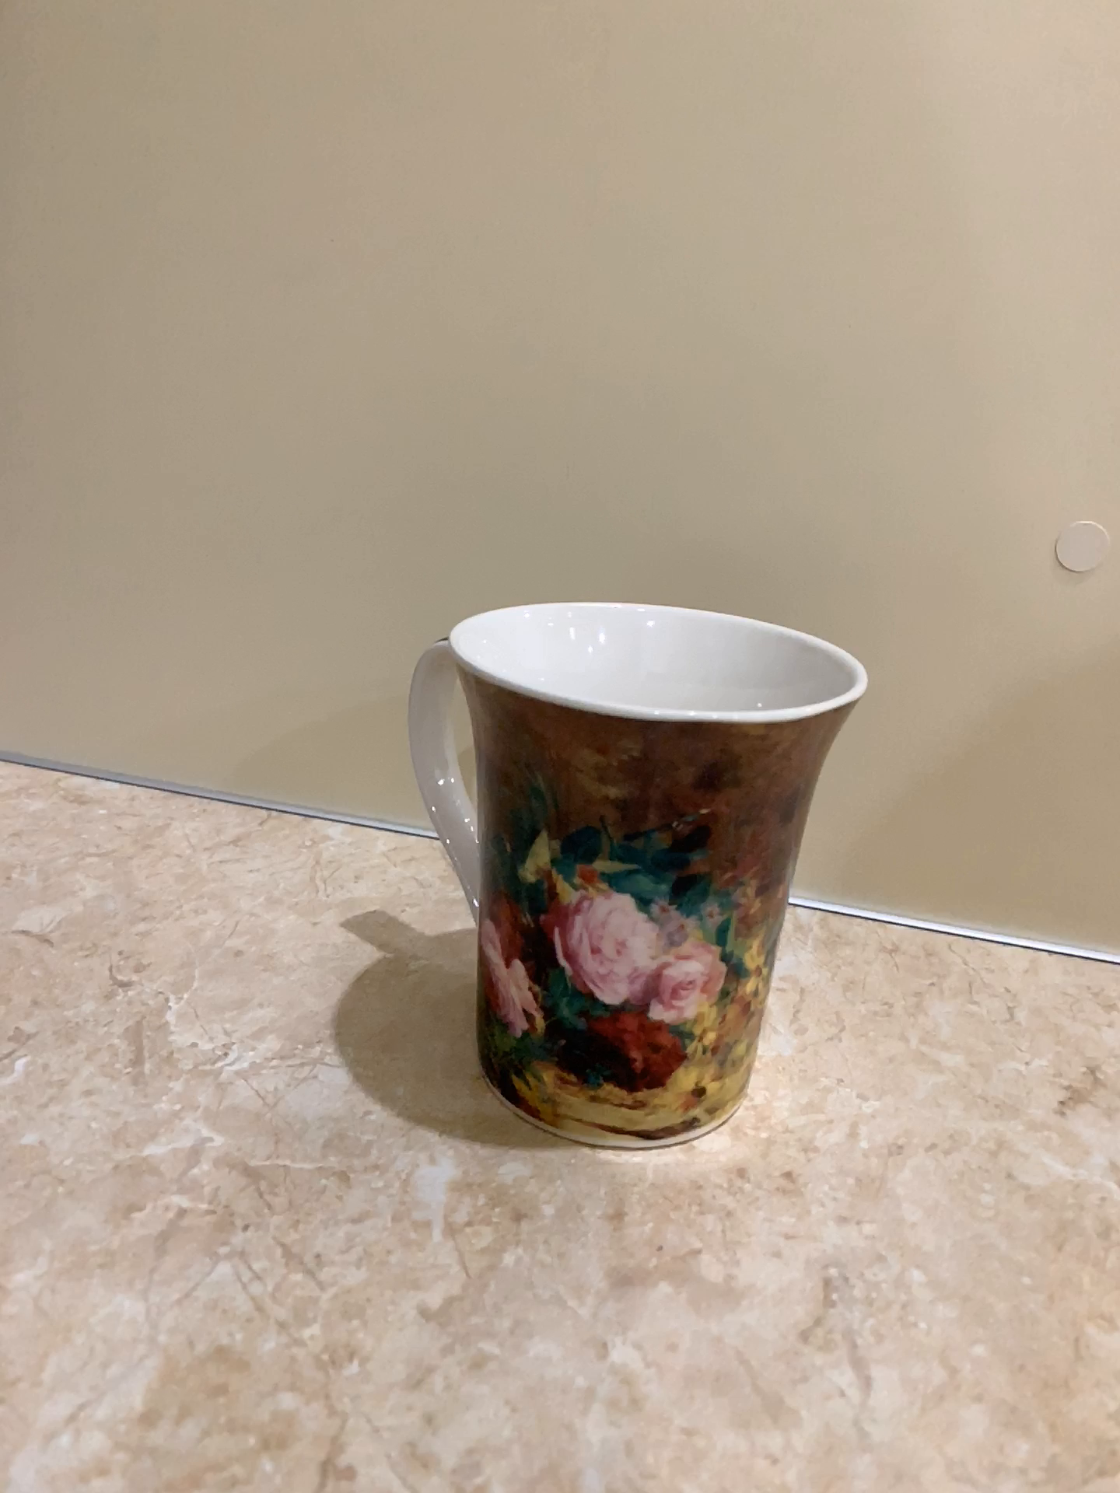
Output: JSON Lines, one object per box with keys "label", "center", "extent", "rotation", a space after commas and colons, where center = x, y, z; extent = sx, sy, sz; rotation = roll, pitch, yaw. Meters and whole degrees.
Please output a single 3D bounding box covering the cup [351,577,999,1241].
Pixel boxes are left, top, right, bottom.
{"label": "cup", "center": [0.018, 0.023, 0.264], "extent": [0.094, 0.096, 0.102], "rotation": [4, 20, -1]}
